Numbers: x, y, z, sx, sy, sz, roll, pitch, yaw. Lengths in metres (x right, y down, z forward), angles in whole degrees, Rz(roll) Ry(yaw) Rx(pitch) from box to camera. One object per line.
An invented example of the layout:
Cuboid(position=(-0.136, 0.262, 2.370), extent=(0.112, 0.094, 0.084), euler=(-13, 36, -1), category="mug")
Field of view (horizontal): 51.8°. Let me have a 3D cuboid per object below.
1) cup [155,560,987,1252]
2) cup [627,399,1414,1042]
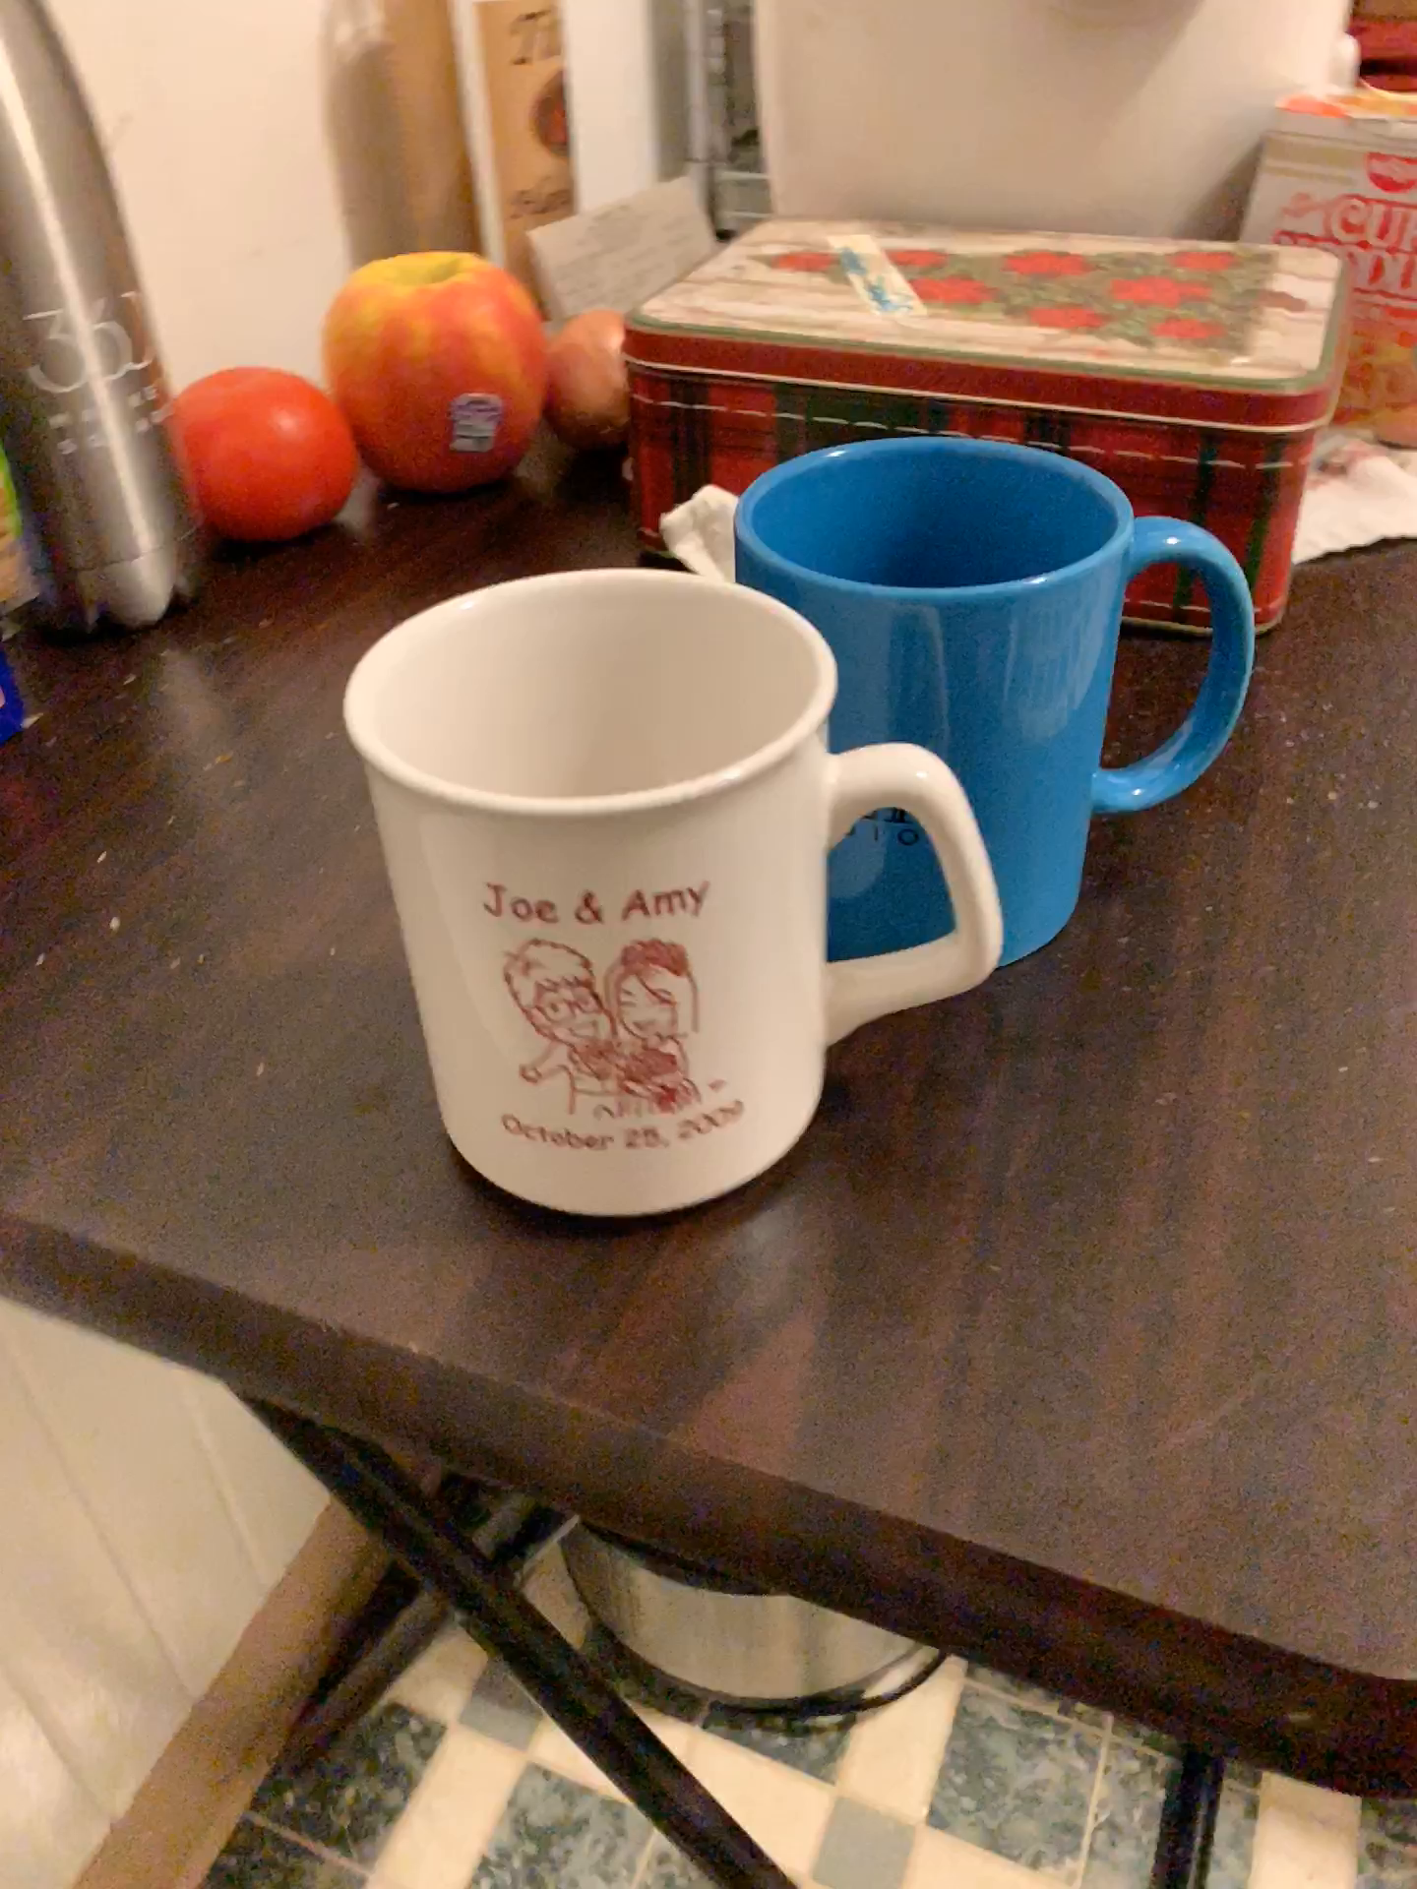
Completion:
Cuboid(position=(-0.016, -0.010, 0.271), extent=(0.120, 0.089, 0.091), euler=(1, 38, 5), category="cup")
Cuboid(position=(0.060, -0.054, 0.337), extent=(0.140, 0.099, 0.091), euler=(-8, 38, -6), category="cup")
